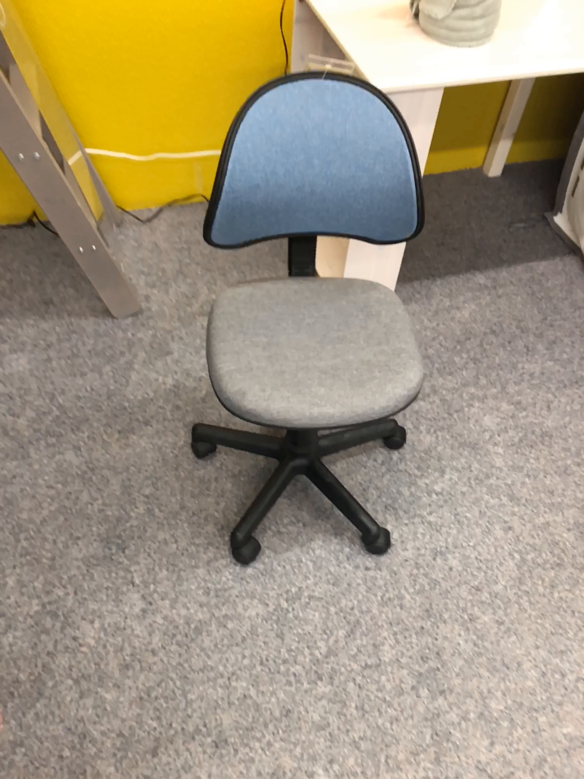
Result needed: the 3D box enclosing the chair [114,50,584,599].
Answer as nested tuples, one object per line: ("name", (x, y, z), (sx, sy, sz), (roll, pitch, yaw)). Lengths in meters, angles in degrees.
("chair", (0.051, -0.089, 1.142), (0.601, 0.747, 0.562), (-6, 51, -10))
